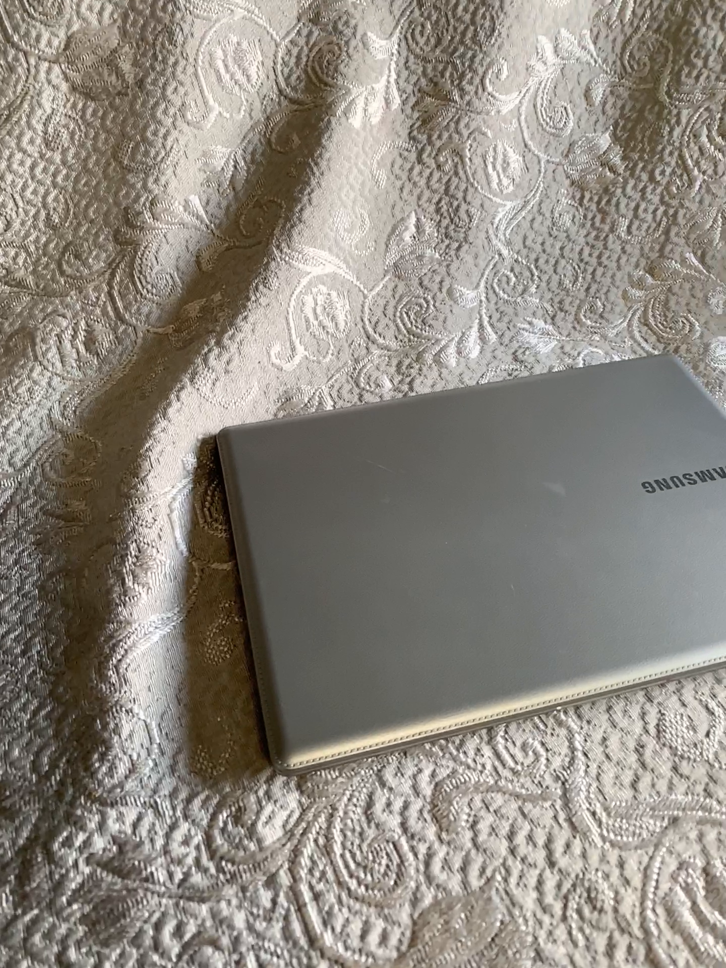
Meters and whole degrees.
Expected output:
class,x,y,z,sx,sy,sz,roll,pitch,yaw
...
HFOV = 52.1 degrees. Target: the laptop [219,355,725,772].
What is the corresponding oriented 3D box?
class,x,y,z,sx,sy,sz,roll,pitch,yaw
laptop,0.076,0.016,0.356,0.264,0.005,0.176,-11,51,-11
